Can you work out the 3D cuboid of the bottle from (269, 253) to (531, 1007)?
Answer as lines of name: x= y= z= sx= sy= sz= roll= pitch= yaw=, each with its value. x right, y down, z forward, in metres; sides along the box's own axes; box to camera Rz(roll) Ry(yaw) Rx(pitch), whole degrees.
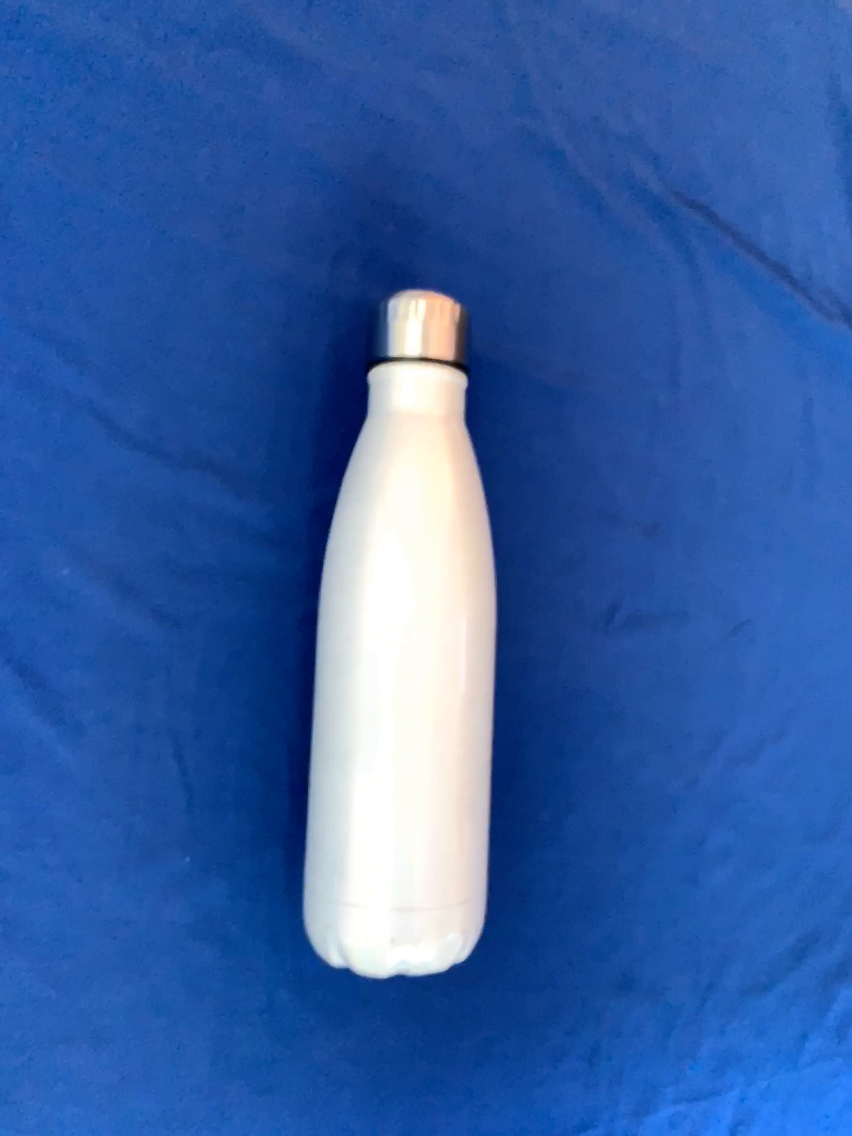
bottle: x=-0.010 y=0.022 z=0.346 sx=0.080 sy=0.050 sz=0.260 roll=3 pitch=87 yaw=-23
